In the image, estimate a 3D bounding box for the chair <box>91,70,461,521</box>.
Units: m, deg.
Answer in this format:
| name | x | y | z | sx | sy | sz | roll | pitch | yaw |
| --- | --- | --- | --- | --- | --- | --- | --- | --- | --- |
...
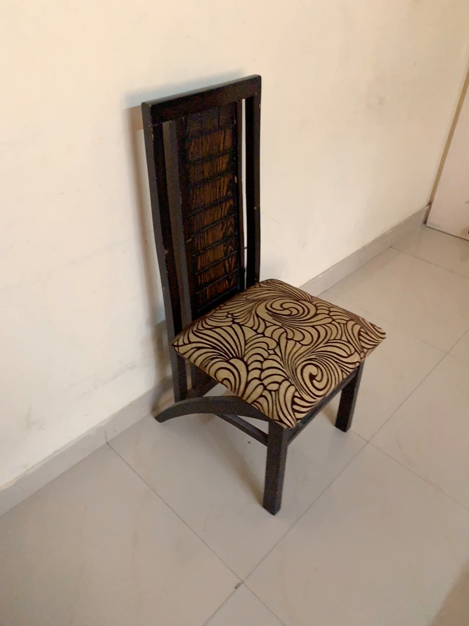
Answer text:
| name | x | y | z | sx | sy | sz | roll | pitch | yaw |
| --- | --- | --- | --- | --- | --- | --- | --- | --- | --- |
| chair | 0.081 | -0.062 | 1.286 | 0.582 | 0.922 | 0.533 | 28 | 44 | 30 |
